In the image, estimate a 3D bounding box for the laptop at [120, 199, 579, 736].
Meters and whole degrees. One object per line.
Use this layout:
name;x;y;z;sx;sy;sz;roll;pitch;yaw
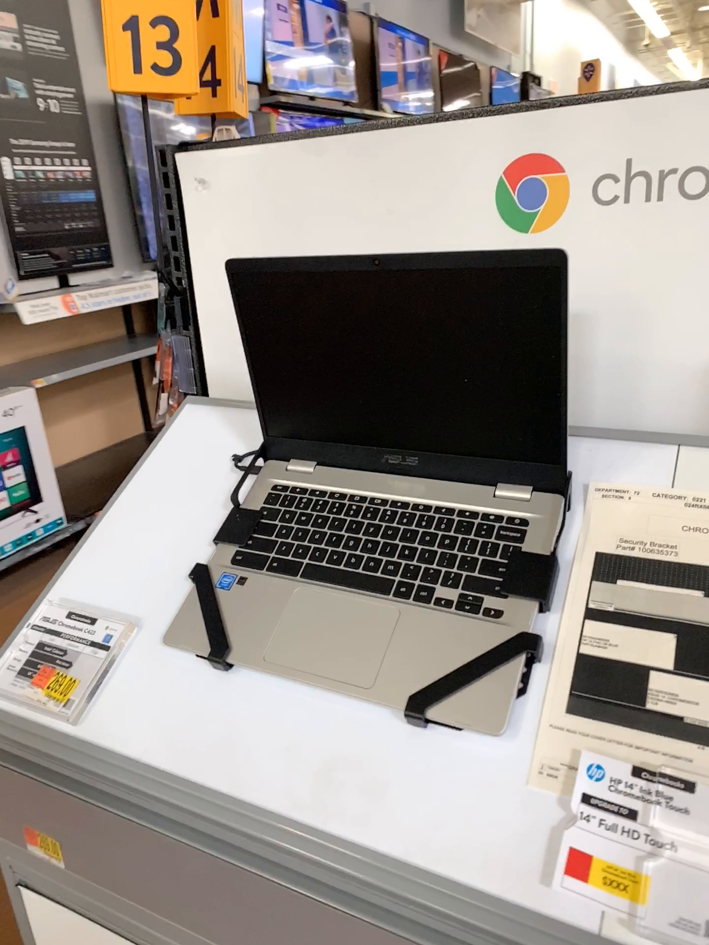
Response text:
laptop;0.007;-0.039;0.636;0.308;0.196;0.293;7;43;26
